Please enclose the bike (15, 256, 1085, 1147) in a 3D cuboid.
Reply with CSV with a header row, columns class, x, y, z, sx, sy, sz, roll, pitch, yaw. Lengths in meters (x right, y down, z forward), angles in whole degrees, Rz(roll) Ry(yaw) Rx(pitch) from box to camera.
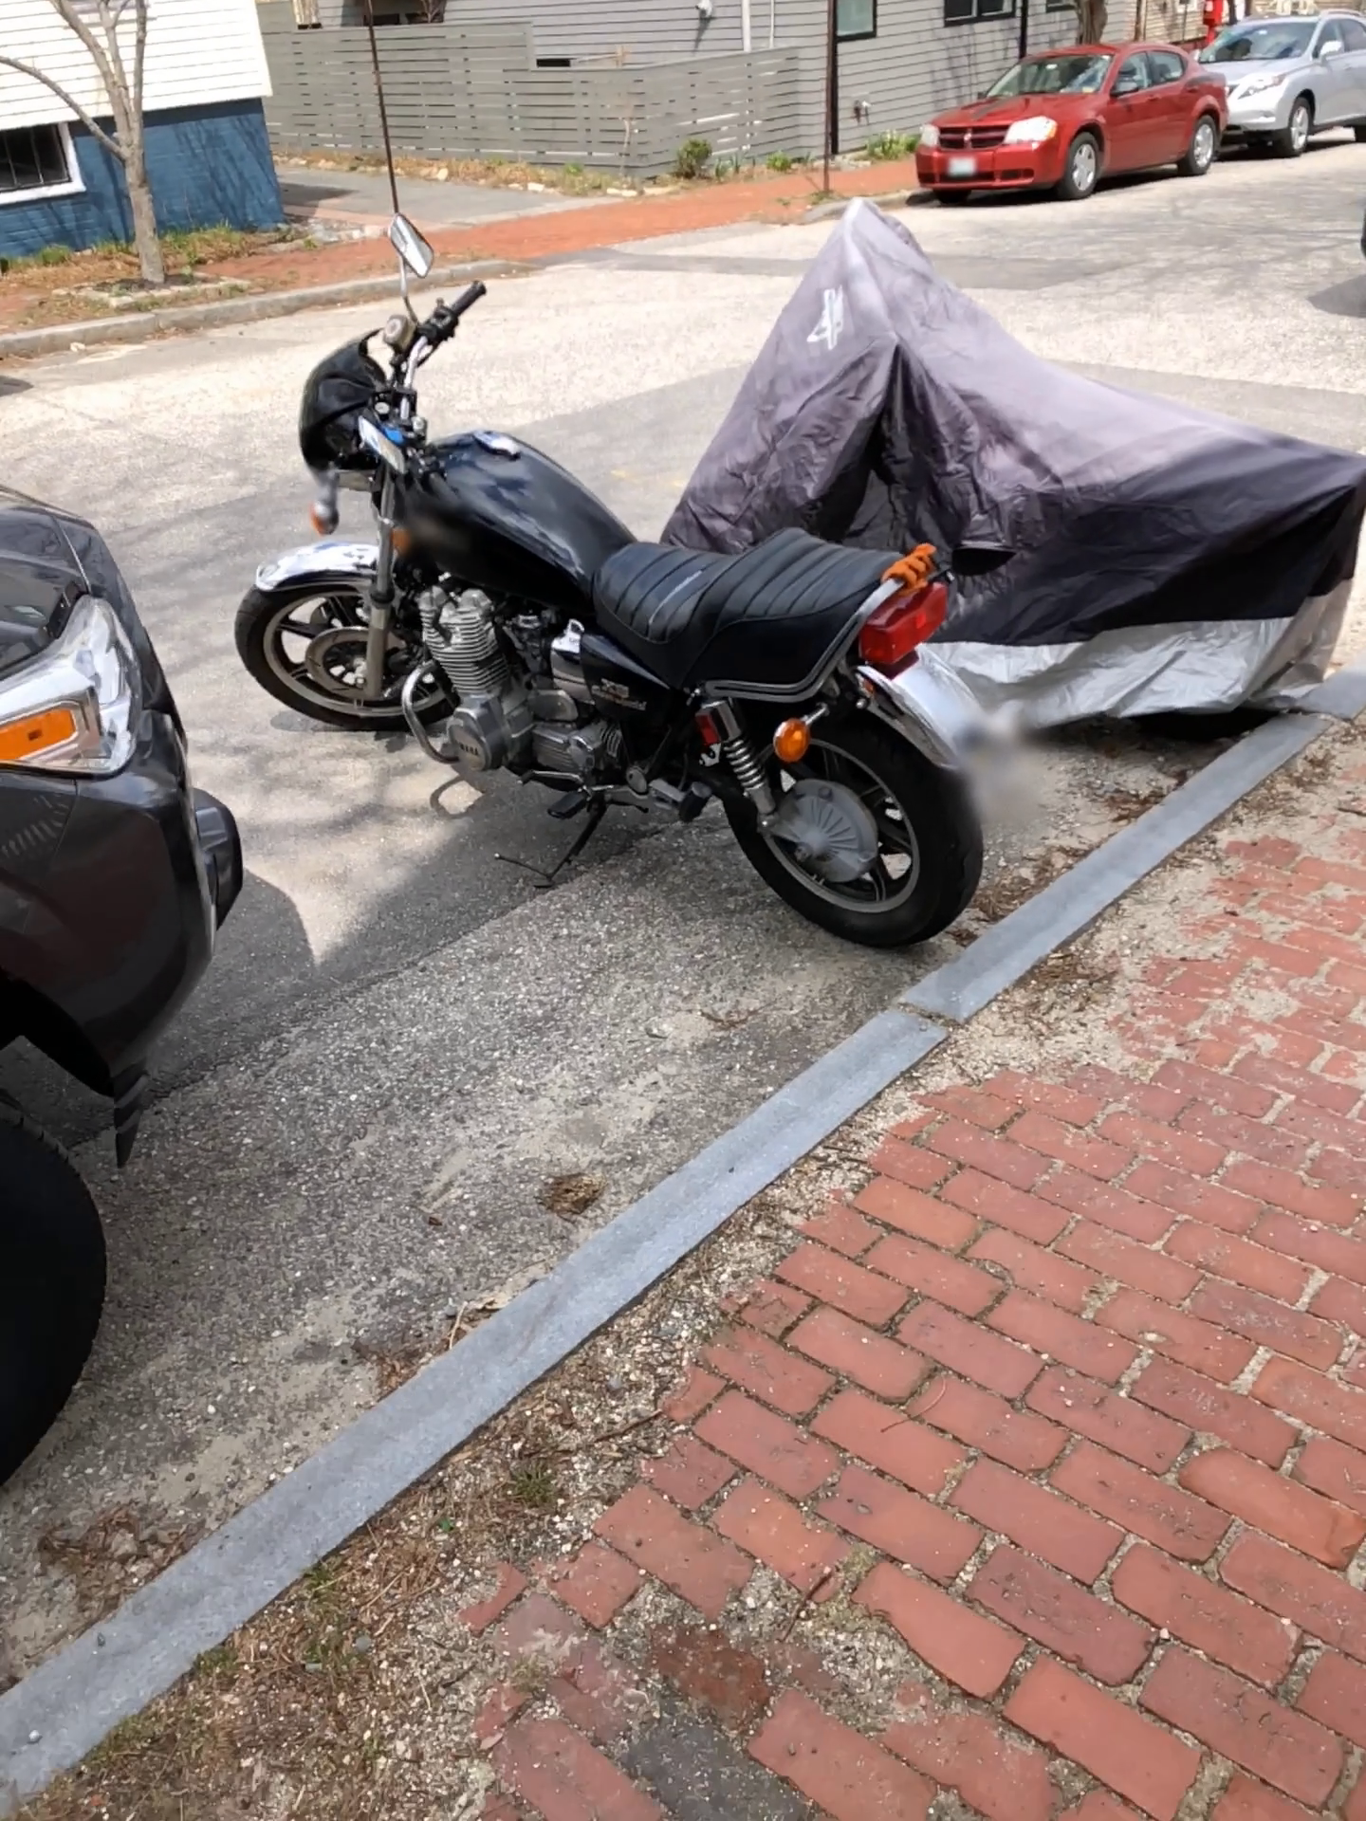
class,x,y,z,sx,sy,sz,roll,pitch,yaw
bike,-0.371,-0.620,3.399,2.301,1.418,0.689,20,40,34
